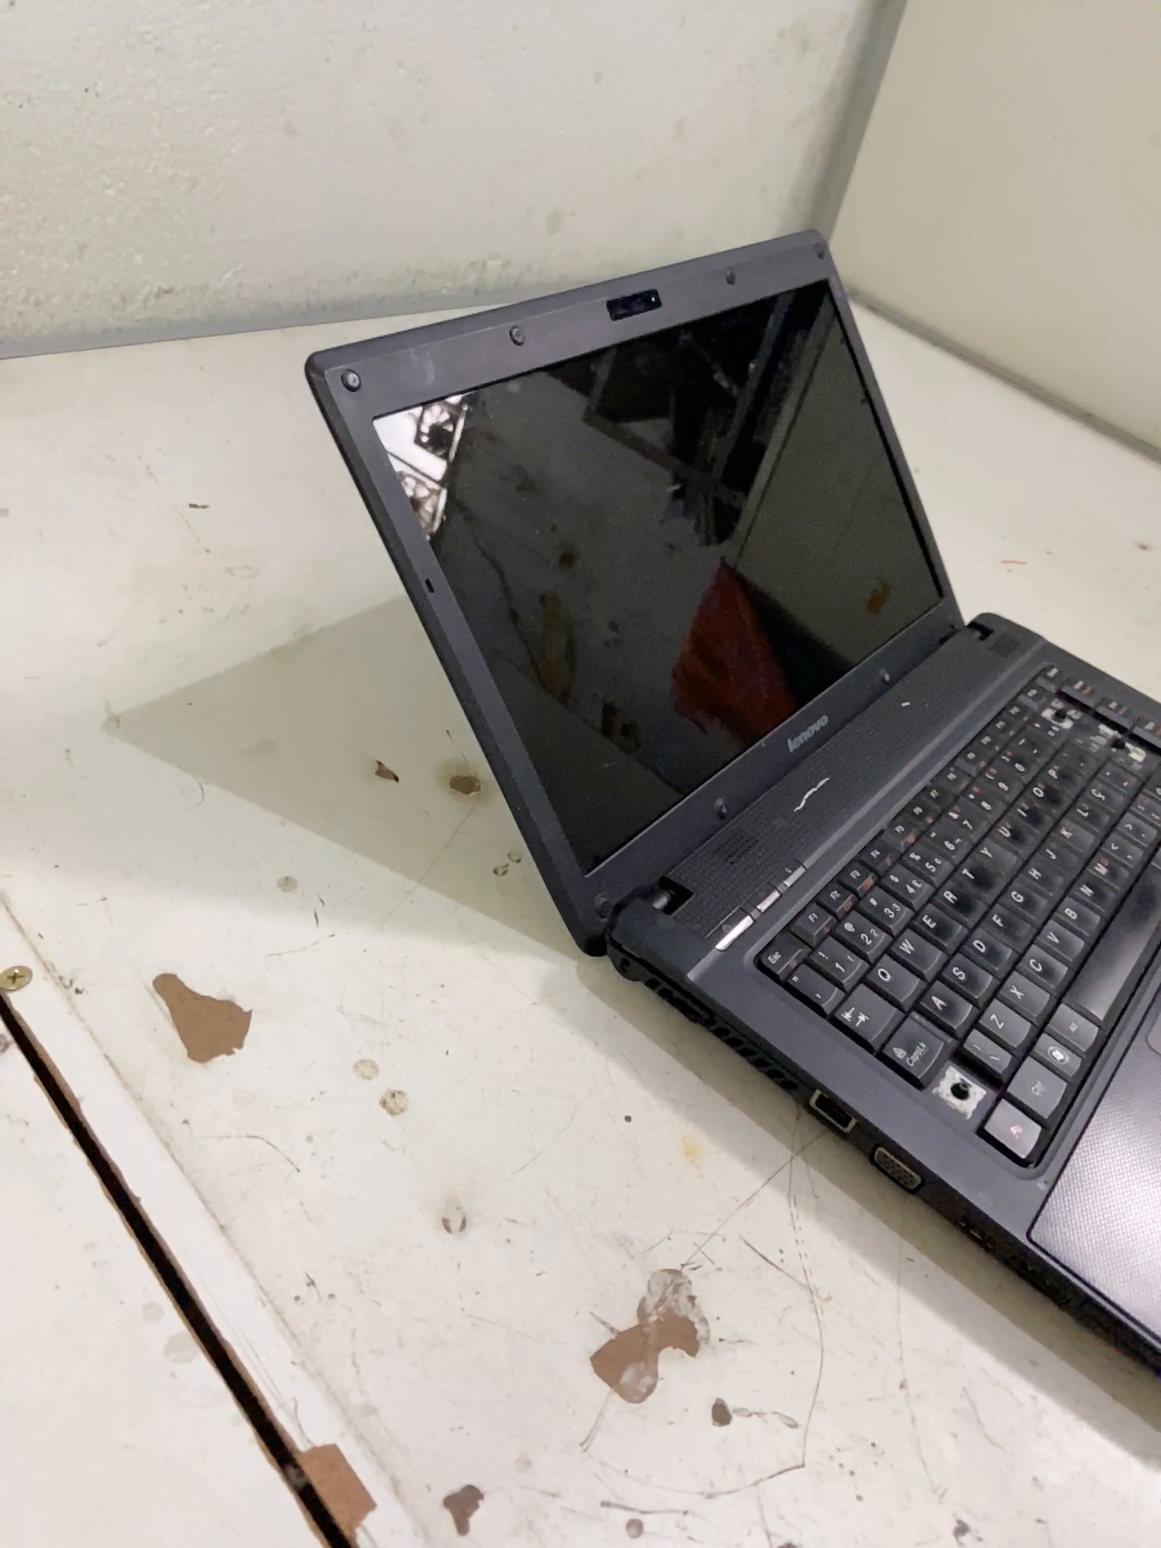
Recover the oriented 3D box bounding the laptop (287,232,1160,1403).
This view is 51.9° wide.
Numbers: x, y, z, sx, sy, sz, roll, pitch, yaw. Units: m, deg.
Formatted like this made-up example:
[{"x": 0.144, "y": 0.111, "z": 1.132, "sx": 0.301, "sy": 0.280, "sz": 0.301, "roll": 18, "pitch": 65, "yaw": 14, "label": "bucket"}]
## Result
[{"x": 0.162, "y": -0.057, "z": 0.503, "sx": 0.422, "sy": 0.147, "sz": 0.359, "roll": 35, "pitch": 44, "yaw": 22, "label": "laptop"}]
